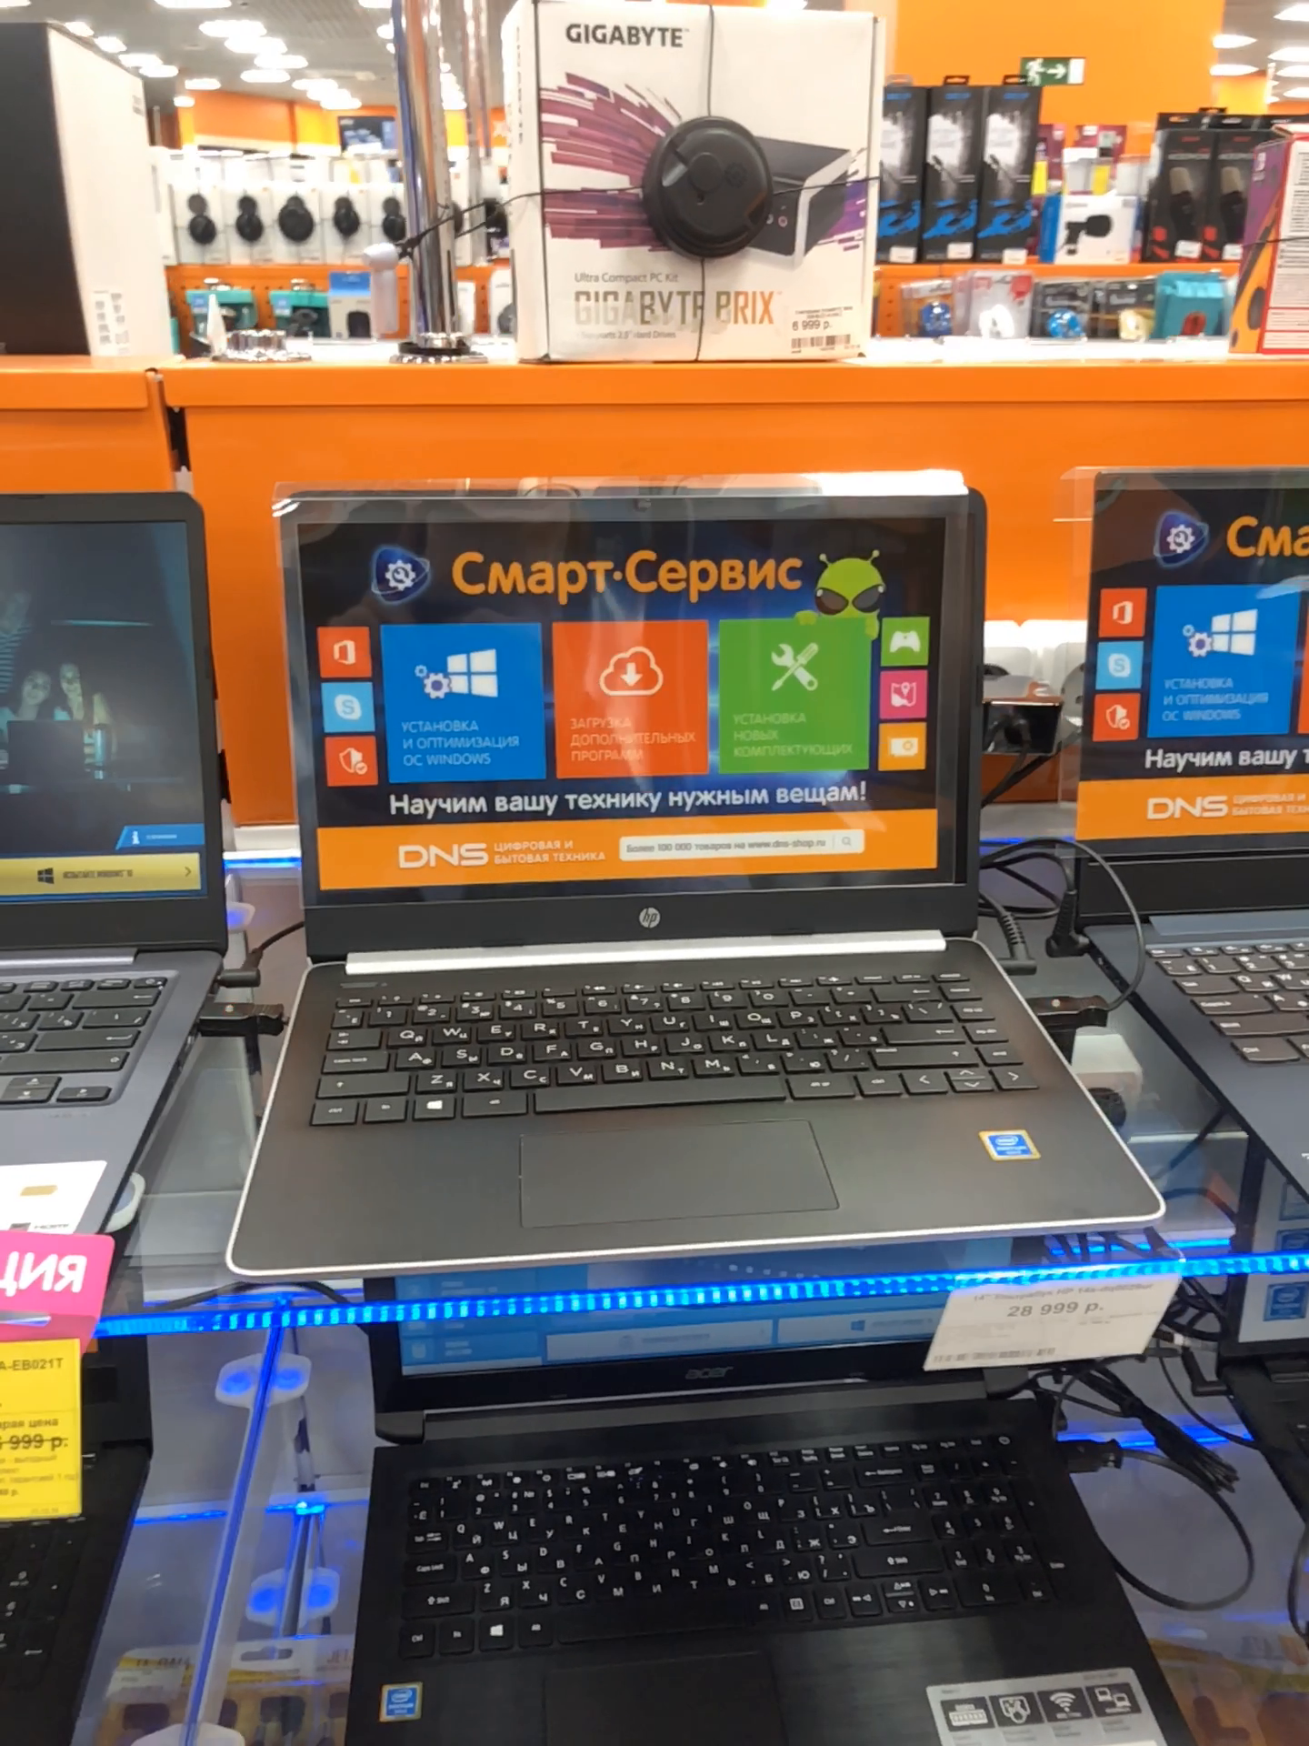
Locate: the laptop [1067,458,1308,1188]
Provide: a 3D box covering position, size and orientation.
[{"bbox_3d":[0.363,-0.039,0.584,0.276,0.205,0.249,-3,24,-2],"label":"laptop"}]

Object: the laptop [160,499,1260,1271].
[{"bbox_3d":[0.009,-0.022,0.566,0.313,0.197,0.268,-2,24,-5],"label":"laptop"}]

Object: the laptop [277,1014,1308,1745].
[{"bbox_3d":[0.042,0.241,0.663,0.362,0.245,0.252,-2,23,-4],"label":"laptop"}]

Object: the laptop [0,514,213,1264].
[{"bbox_3d":[-0.358,-0.019,0.556,0.313,0.199,0.280,-2,22,-6],"label":"laptop"}]
